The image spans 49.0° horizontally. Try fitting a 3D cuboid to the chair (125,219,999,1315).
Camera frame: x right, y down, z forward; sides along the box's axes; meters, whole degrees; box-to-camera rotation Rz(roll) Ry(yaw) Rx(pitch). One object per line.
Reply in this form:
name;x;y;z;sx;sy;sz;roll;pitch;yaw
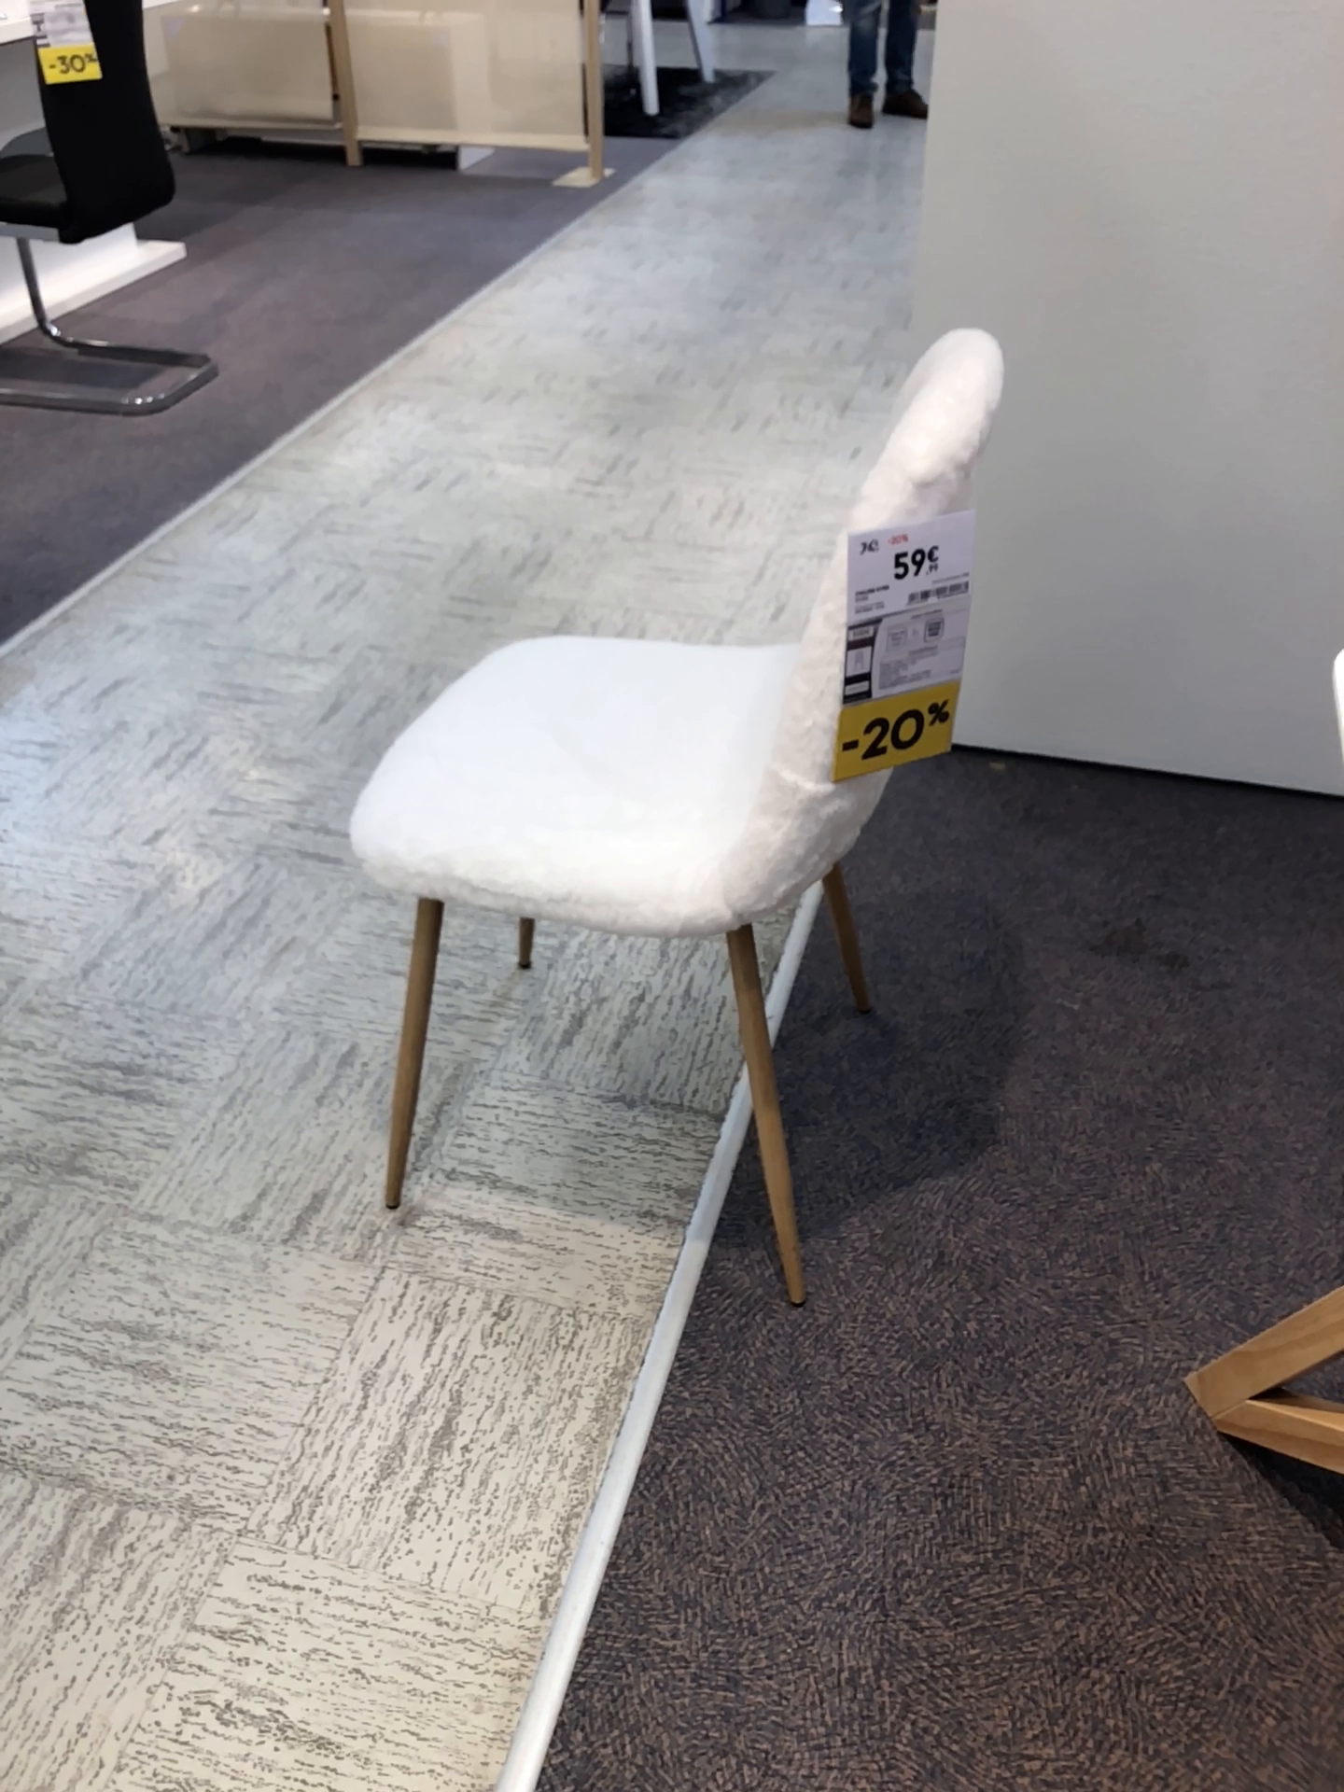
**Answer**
chair;-0.037;-0.126;1.389;0.550;0.815;0.523;8;37;11
